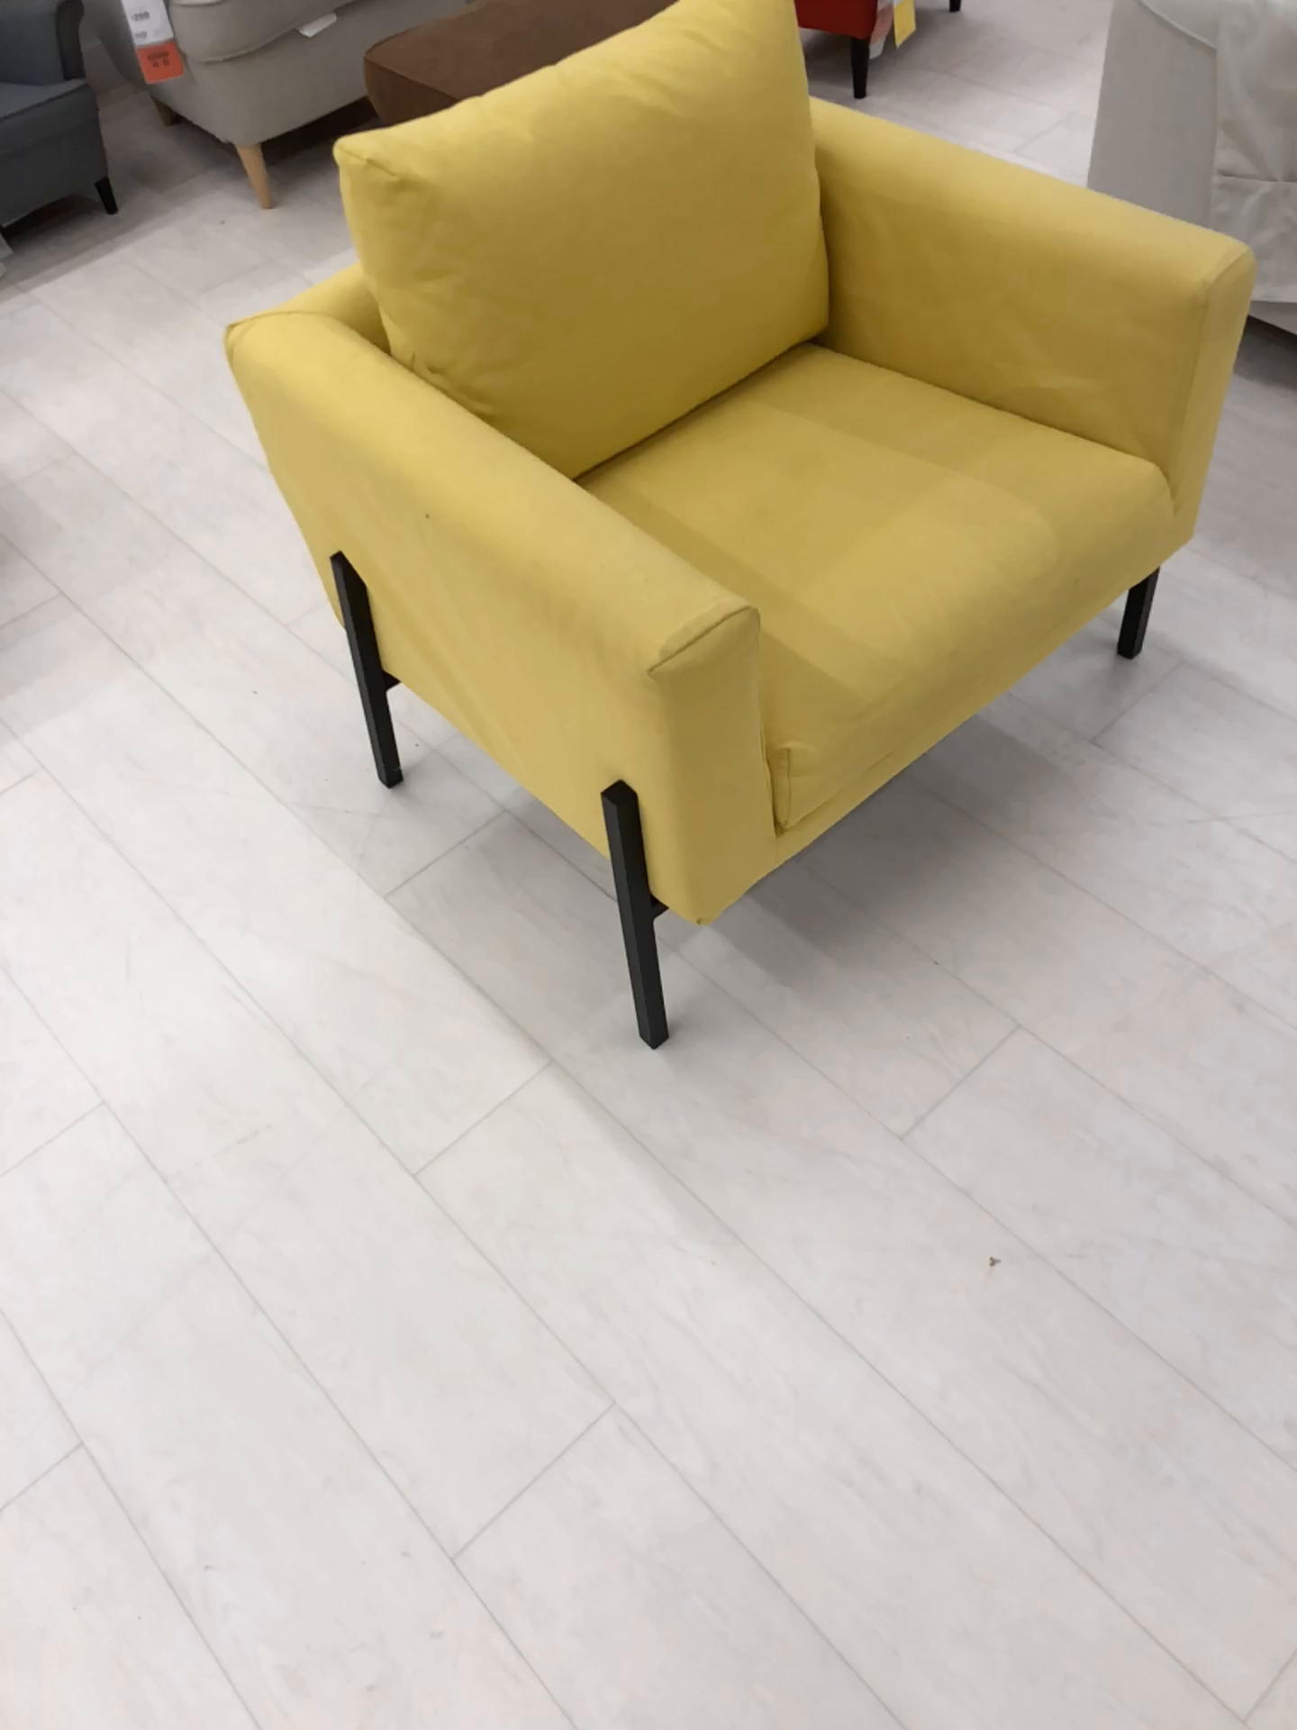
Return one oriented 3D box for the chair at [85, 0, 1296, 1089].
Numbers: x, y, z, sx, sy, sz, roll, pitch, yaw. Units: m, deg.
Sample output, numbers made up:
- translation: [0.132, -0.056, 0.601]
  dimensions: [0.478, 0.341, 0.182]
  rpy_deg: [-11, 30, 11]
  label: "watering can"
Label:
- translation: [0.114, -0.460, 1.594]
  dimensions: [0.981, 0.758, 0.691]
  rpy_deg: [-38, 56, -22]
  label: "chair"
